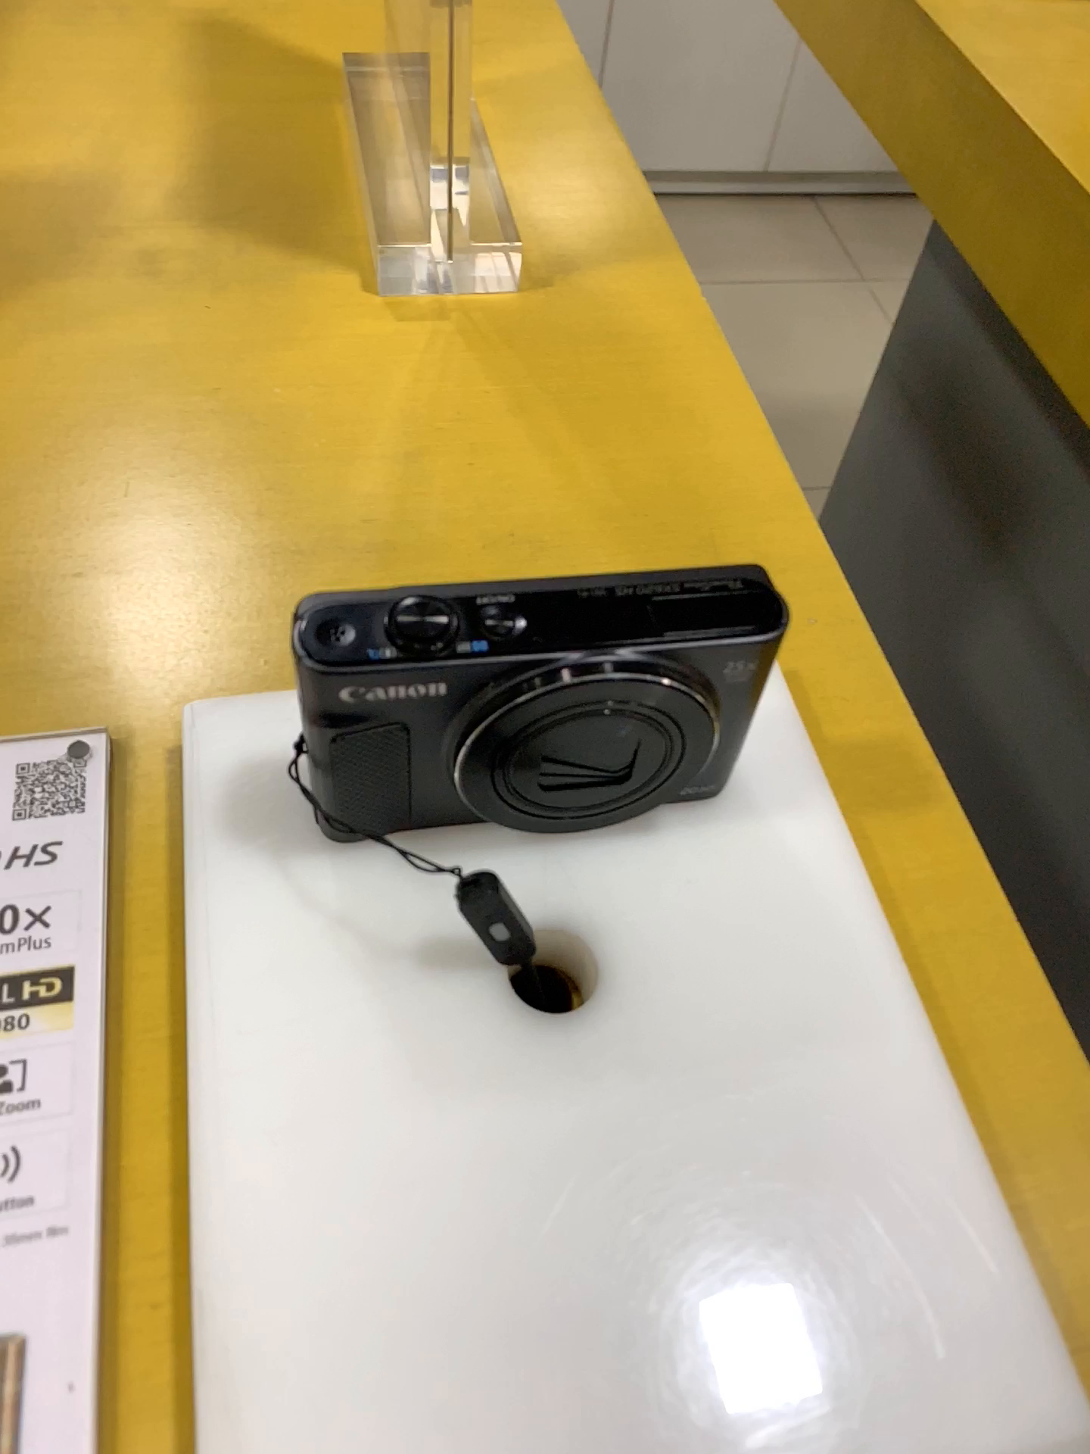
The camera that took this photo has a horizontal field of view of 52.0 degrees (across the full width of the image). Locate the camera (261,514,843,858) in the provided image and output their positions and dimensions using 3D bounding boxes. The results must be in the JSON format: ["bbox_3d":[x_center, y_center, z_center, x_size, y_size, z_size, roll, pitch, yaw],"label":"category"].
[{"bbox_3d":[-0.002,-0.007,0.221,0.100,0.060,0.030,-4,53,-10],"label":"camera"}]
